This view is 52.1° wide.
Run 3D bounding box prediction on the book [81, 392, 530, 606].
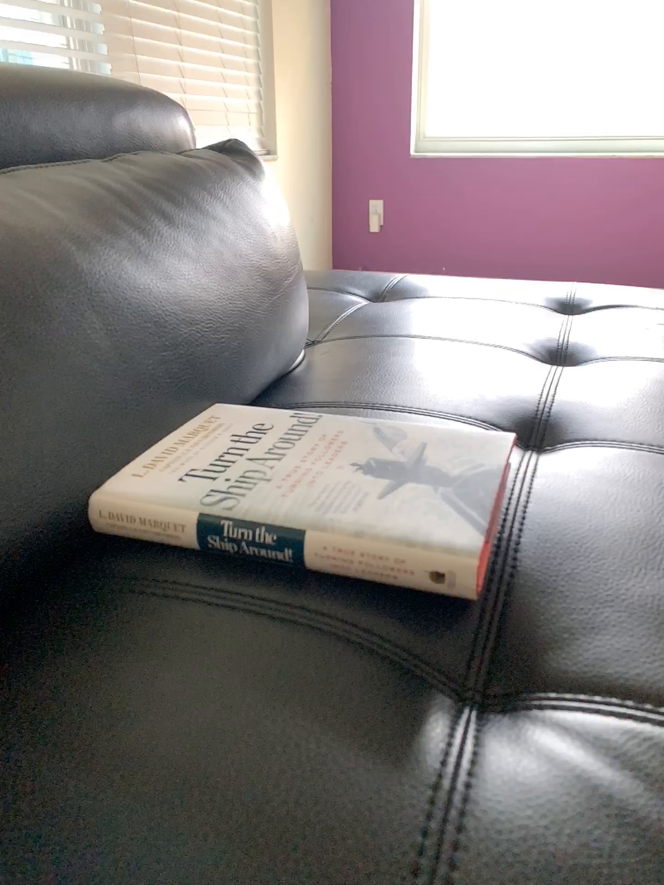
[{"bbox_3d":[-0.005,0.019,0.408,0.225,0.029,0.153,7,26,19],"label":"book"}]
